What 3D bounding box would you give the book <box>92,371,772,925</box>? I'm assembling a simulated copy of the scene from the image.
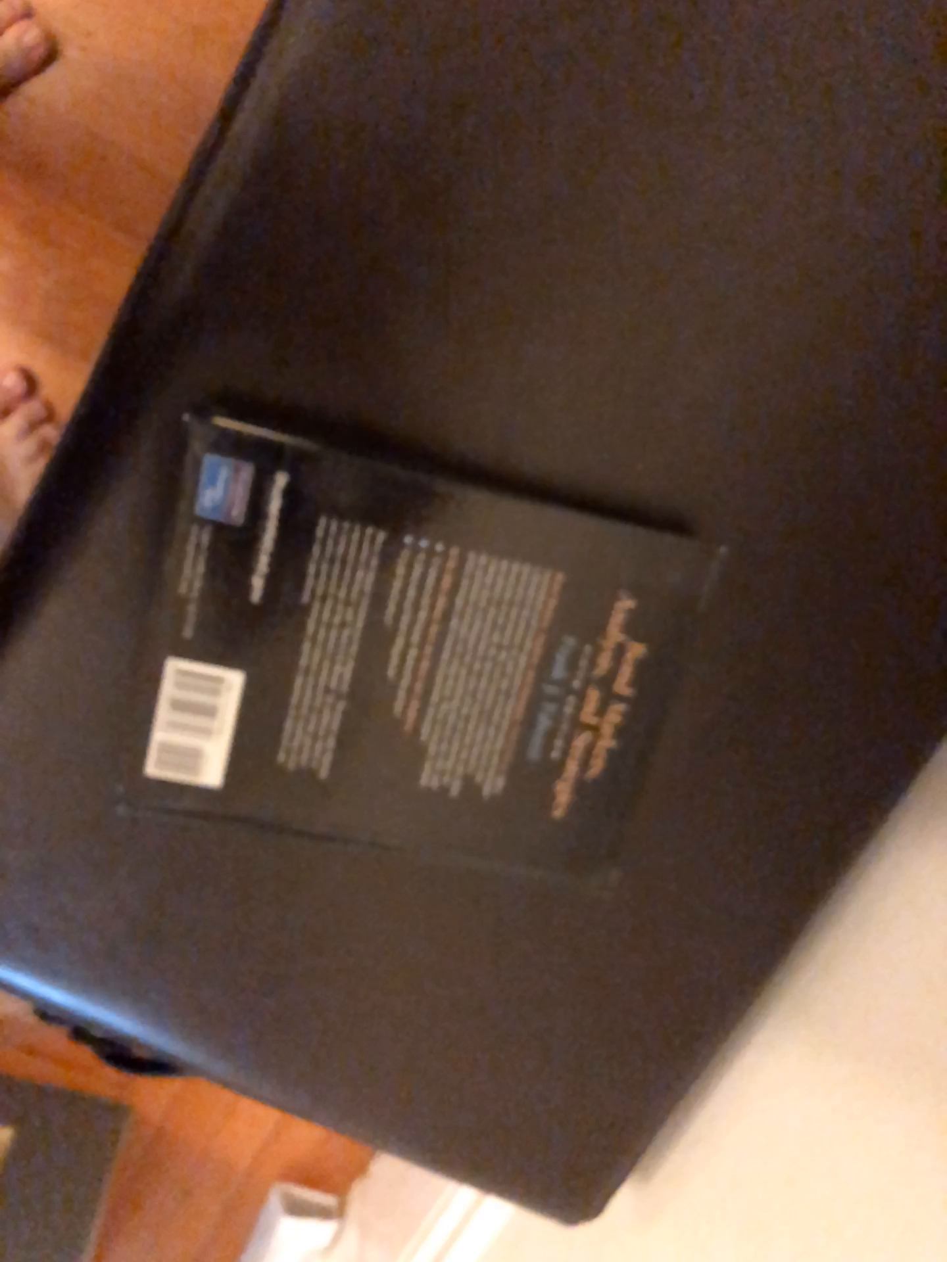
[{"bbox_3d":[-0.022,0.014,0.490,0.260,0.040,0.200,13,105,-8],"label":"book"}]
